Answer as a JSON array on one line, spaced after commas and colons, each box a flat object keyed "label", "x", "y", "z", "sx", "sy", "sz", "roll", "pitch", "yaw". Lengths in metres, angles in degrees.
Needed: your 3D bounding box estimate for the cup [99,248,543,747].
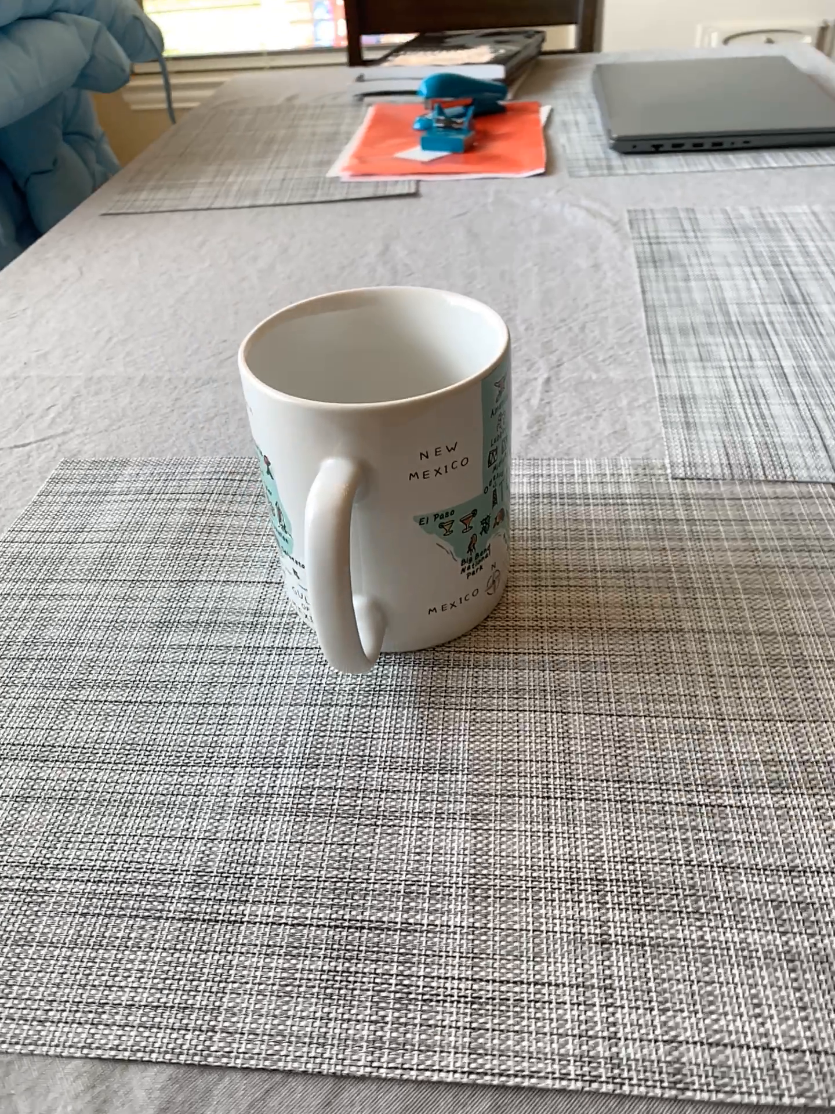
[{"label": "cup", "x": -0.025, "y": -0.034, "z": 0.373, "sx": 0.111, "sy": 0.136, "sz": 0.151, "roll": 14, "pitch": 43, "yaw": 21}]
